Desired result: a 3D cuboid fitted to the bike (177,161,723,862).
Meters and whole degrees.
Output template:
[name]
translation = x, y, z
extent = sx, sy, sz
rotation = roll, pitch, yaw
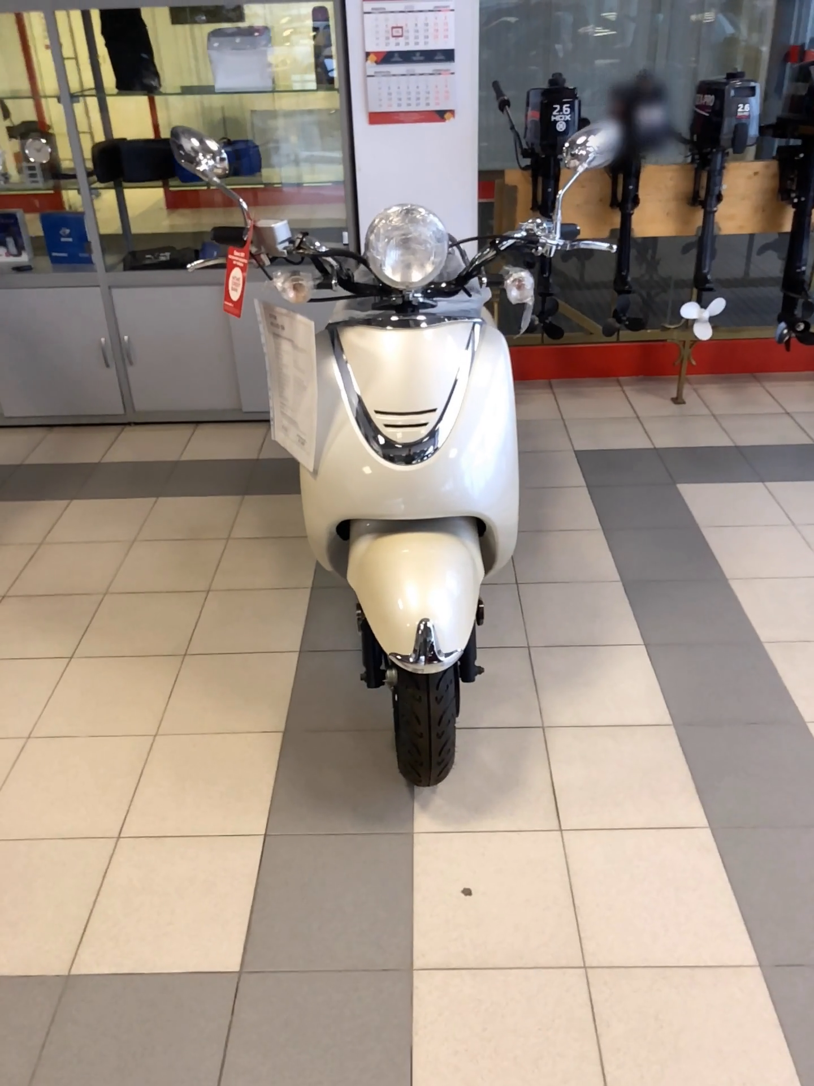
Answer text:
[bike]
translation = 0.077, -0.267, 2.249
extent = 0.804, 0.963, 1.691
rotation = -1, 33, 2
